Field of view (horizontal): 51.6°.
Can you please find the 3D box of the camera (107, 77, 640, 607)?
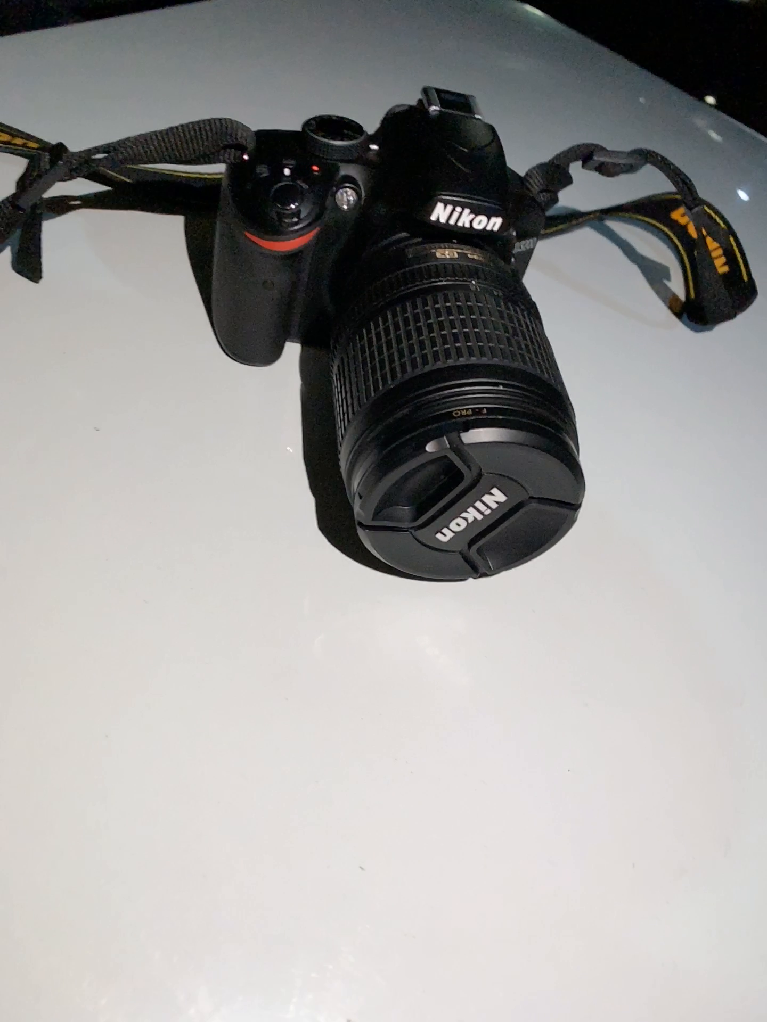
[{"bbox_3d":[-0.009,-0.075,0.294,0.126,0.099,0.202,1,43,-4],"label":"camera"}]
